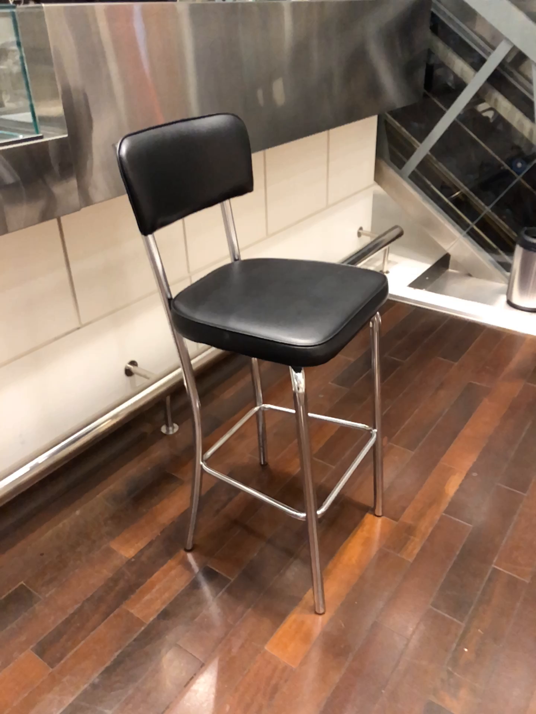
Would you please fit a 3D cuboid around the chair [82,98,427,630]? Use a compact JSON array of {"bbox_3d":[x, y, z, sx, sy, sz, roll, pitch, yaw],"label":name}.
[{"bbox_3d":[0.004,0.007,1.308,0.471,1.012,0.423,15,33,28],"label":"chair"}]
